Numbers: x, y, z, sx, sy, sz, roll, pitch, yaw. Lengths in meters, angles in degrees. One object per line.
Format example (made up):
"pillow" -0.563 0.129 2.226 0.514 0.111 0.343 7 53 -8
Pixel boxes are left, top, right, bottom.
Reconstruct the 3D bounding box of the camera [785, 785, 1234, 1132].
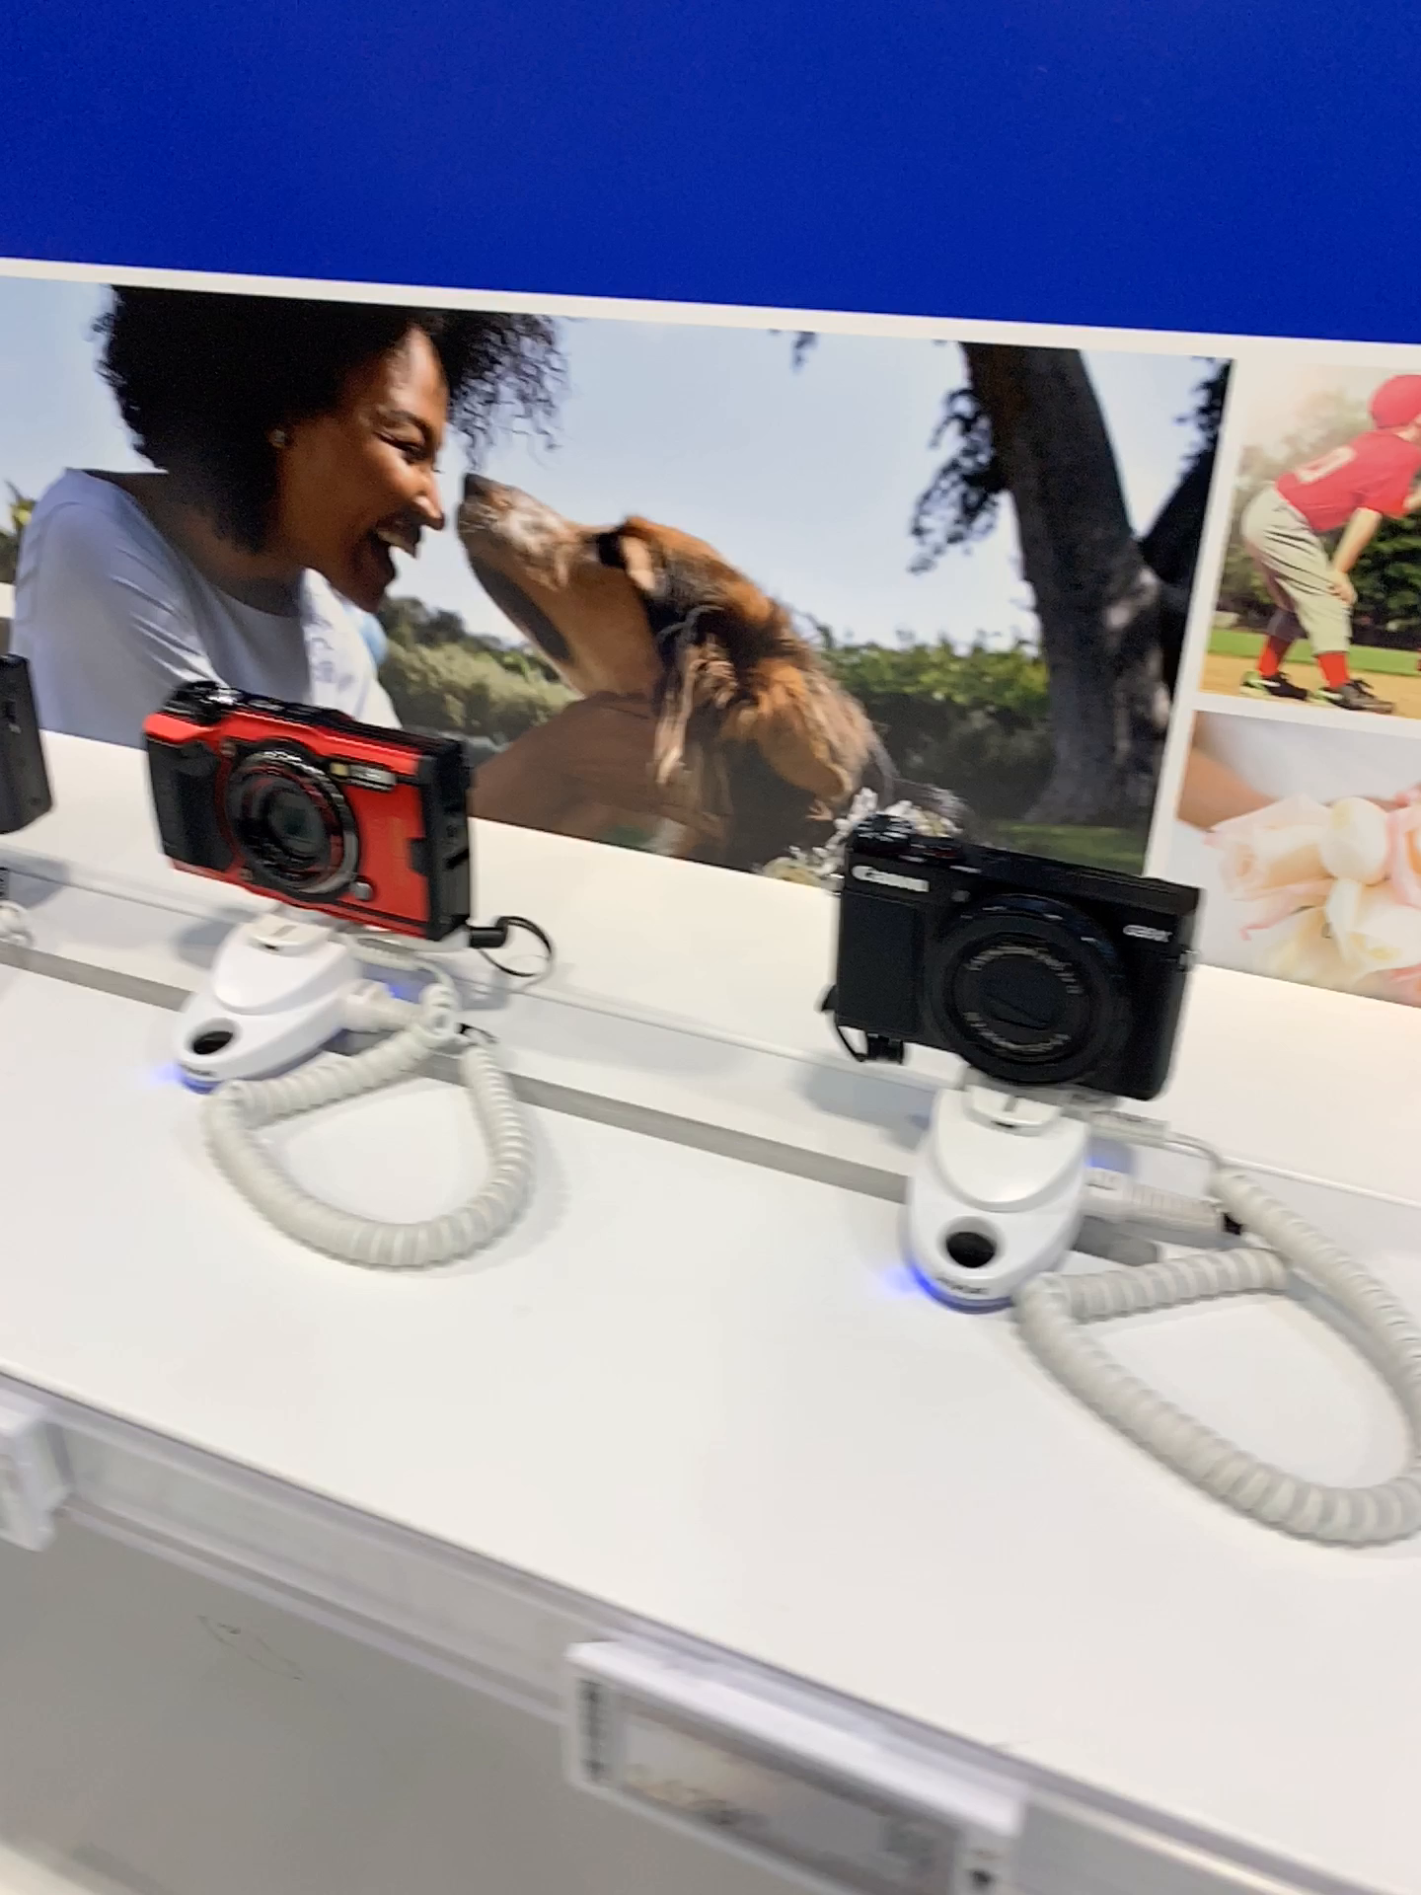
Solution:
"camera" 0.083 0.000 0.415 0.110 0.060 0.050 13 32 20

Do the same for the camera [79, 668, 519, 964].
"camera" -0.134 -0.046 0.482 0.130 0.060 0.050 13 32 20

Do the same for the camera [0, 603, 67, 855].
"camera" -0.308 -0.083 0.538 0.120 0.060 0.050 13 32 20
